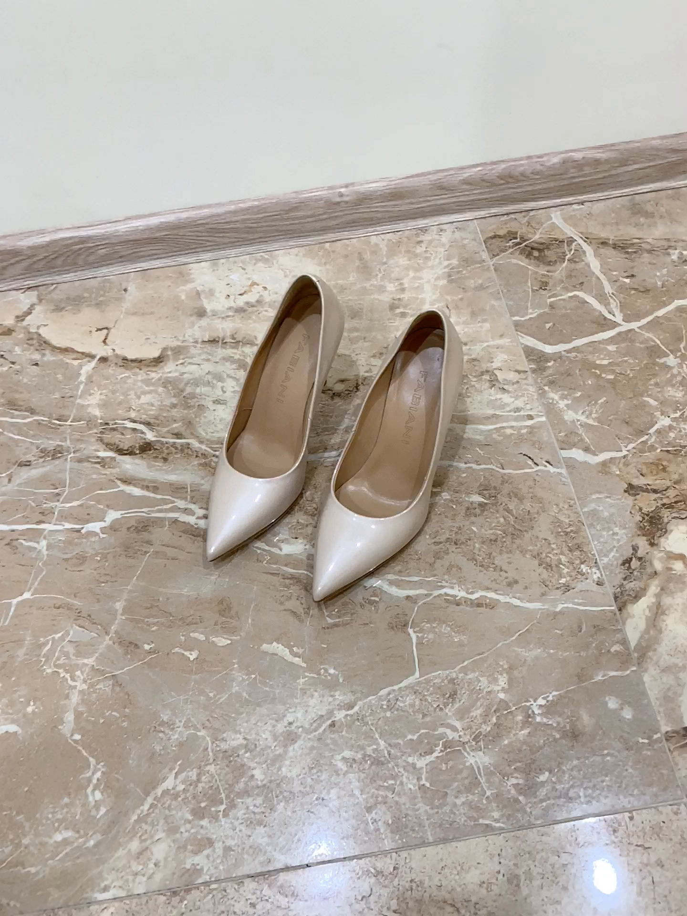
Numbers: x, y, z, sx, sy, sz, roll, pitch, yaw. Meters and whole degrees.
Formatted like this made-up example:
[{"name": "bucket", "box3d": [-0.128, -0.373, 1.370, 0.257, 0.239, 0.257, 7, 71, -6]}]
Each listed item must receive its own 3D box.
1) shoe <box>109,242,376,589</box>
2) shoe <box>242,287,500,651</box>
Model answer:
[{"name": "shoe", "box3d": [-0.064, -0.037, 0.568, 0.090, 0.120, 0.241, 20, 63, 15]}, {"name": "shoe", "box3d": [0.030, 0.004, 0.536, 0.090, 0.110, 0.241, 20, 63, 15]}]
